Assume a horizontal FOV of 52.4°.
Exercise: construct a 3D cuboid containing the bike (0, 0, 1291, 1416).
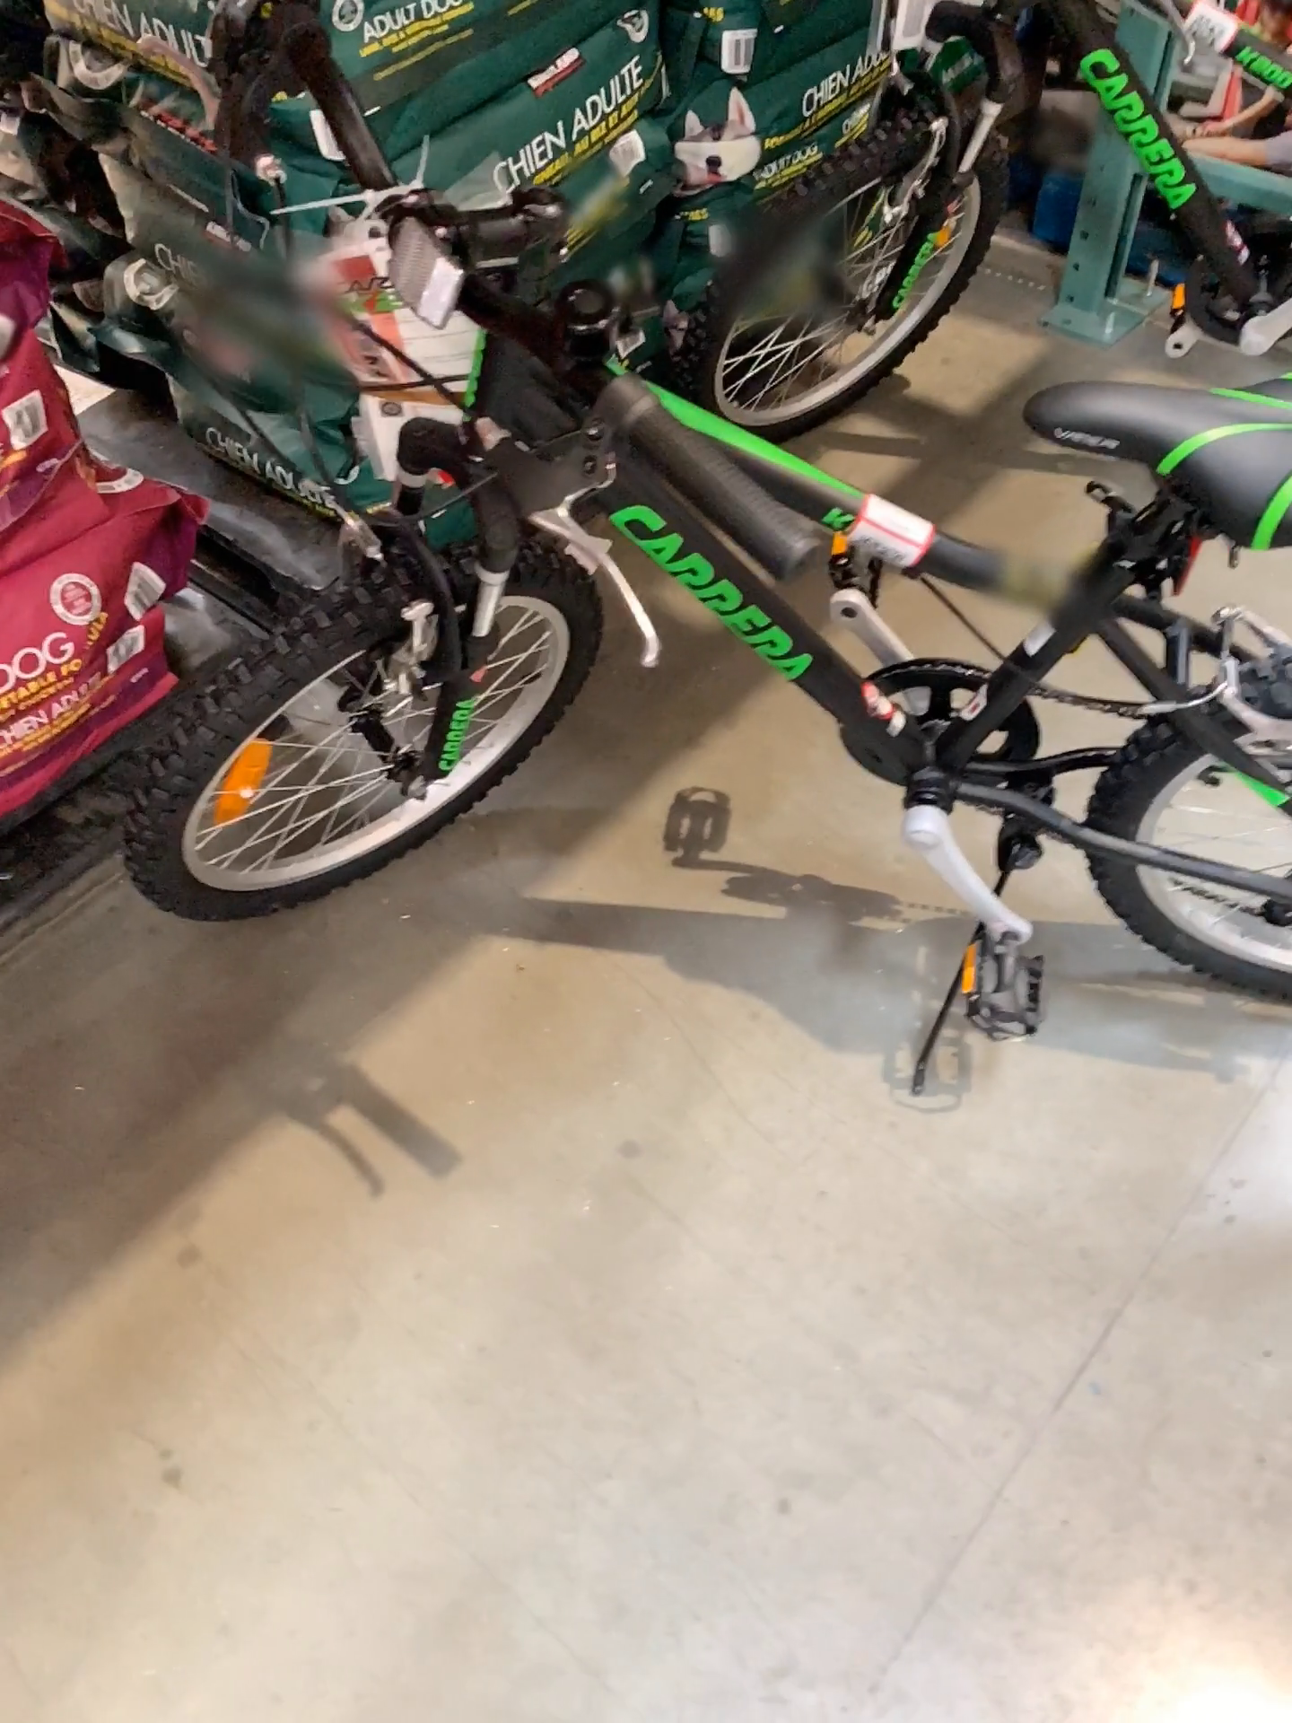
[{"bbox_3d":[0.207,-0.104,0.945,1.304,0.856,0.711,2,51,3],"label":"bike"}]
